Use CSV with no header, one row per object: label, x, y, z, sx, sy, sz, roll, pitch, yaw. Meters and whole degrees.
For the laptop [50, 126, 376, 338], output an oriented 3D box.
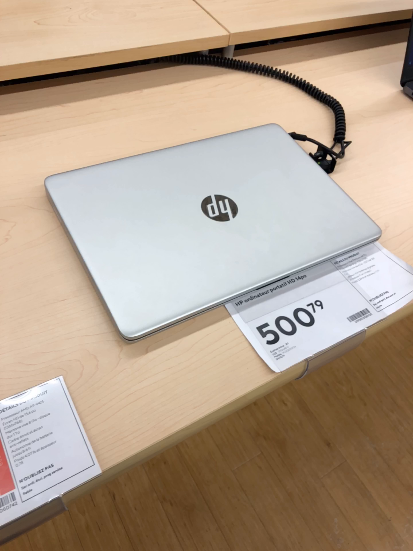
laptop,0.015,-0.075,0.504,0.310,0.004,0.205,-21,60,-26
